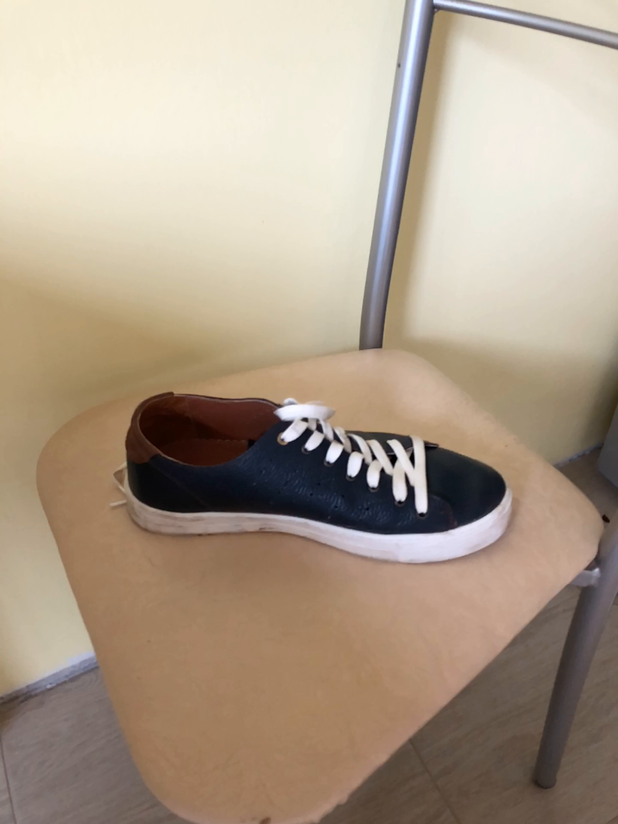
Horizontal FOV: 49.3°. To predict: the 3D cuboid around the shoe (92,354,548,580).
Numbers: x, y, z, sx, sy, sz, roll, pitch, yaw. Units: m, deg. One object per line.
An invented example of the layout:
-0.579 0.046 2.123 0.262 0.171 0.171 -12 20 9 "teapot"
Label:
0.010 0.036 0.495 0.290 0.089 0.111 4 41 6 "shoe"
